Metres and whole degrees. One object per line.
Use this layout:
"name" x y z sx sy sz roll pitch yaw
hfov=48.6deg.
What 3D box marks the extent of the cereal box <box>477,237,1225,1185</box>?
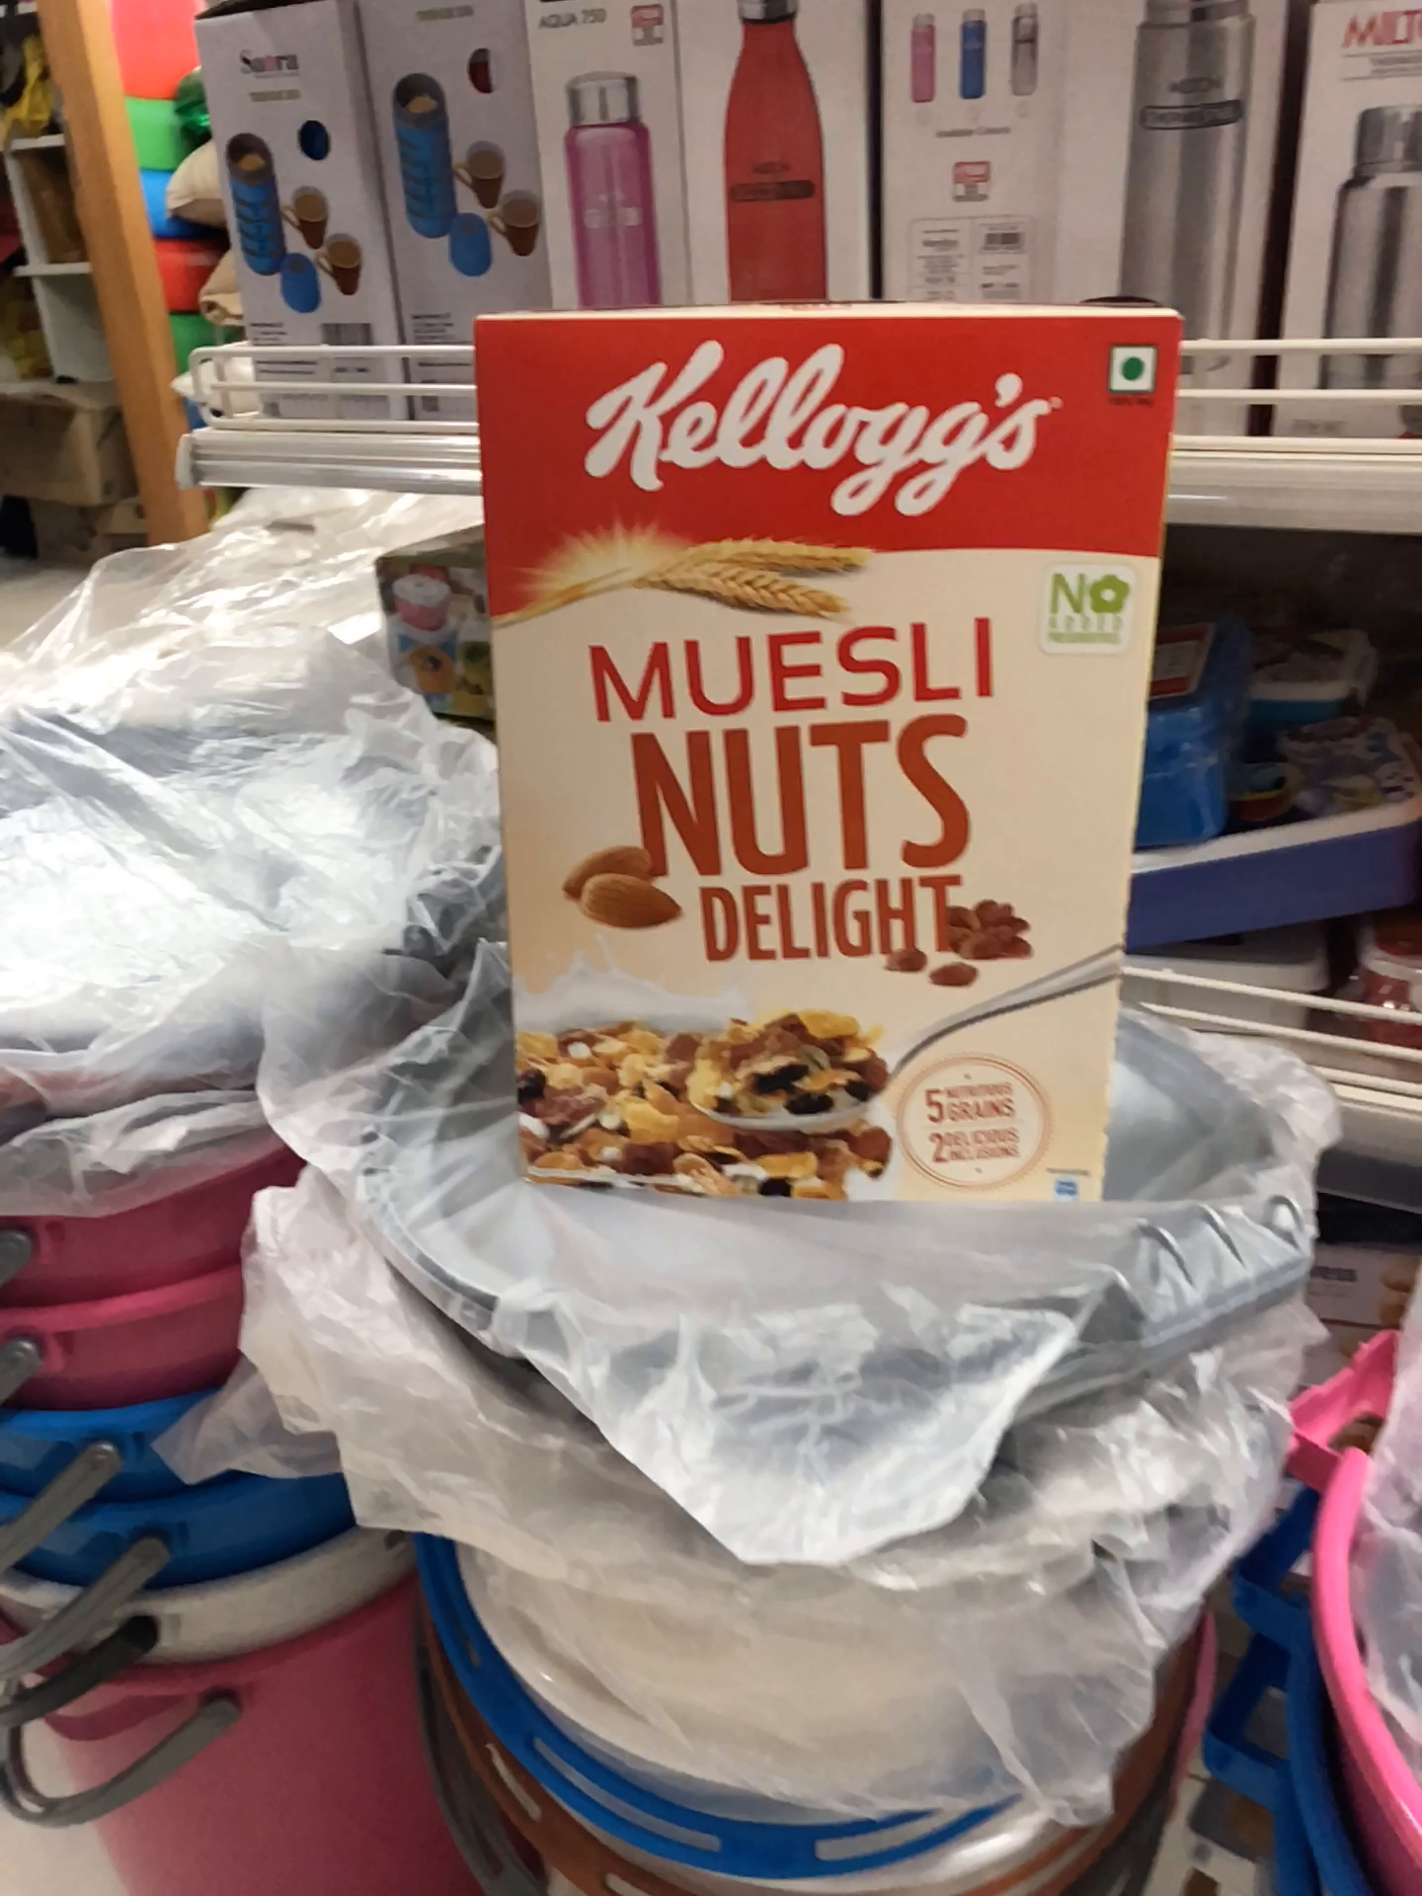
"cereal box" 0.037 -0.069 0.475 0.190 0.259 0.070 4 20 9
